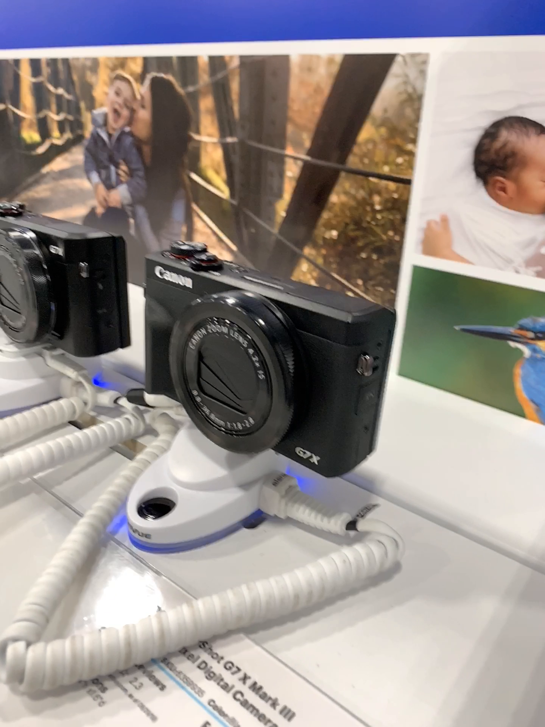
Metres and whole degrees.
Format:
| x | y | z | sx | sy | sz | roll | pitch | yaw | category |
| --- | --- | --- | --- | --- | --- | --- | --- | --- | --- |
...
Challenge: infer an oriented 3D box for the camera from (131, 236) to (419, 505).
| x | y | z | sx | sy | sz | roll | pitch | yaw | category |
| --- | --- | --- | --- | --- | --- | --- | --- | --- | --- |
| -0.006 | -0.005 | 0.228 | 0.110 | 0.070 | 0.040 | 21 | 28 | 36 | camera |
